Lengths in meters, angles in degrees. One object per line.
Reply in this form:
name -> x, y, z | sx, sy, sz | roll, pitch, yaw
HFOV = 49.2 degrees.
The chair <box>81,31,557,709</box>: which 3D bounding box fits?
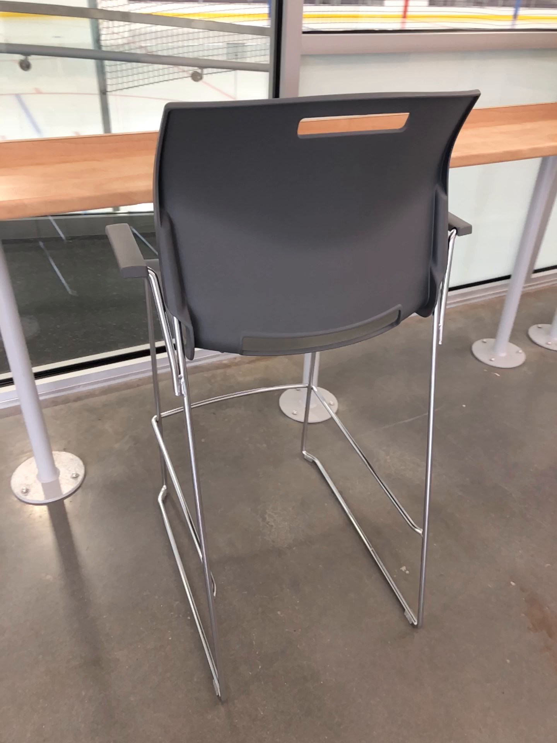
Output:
chair -> 0.037, -0.031, 1.222 | 0.600, 1.072, 0.664 | -12, 37, -21
